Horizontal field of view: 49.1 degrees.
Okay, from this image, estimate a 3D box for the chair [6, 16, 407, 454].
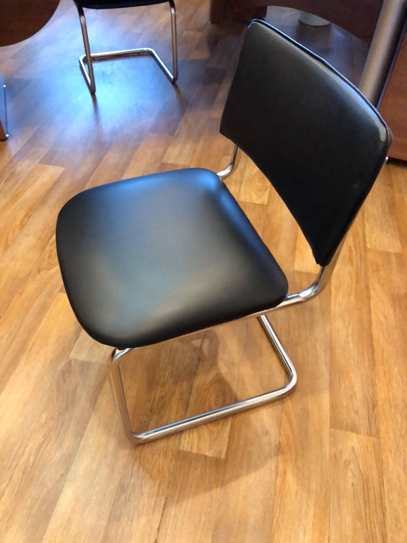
[{"bbox_3d":[-0.045,-0.056,0.995,0.524,0.745,0.494,-13,49,-14],"label":"chair"}]
